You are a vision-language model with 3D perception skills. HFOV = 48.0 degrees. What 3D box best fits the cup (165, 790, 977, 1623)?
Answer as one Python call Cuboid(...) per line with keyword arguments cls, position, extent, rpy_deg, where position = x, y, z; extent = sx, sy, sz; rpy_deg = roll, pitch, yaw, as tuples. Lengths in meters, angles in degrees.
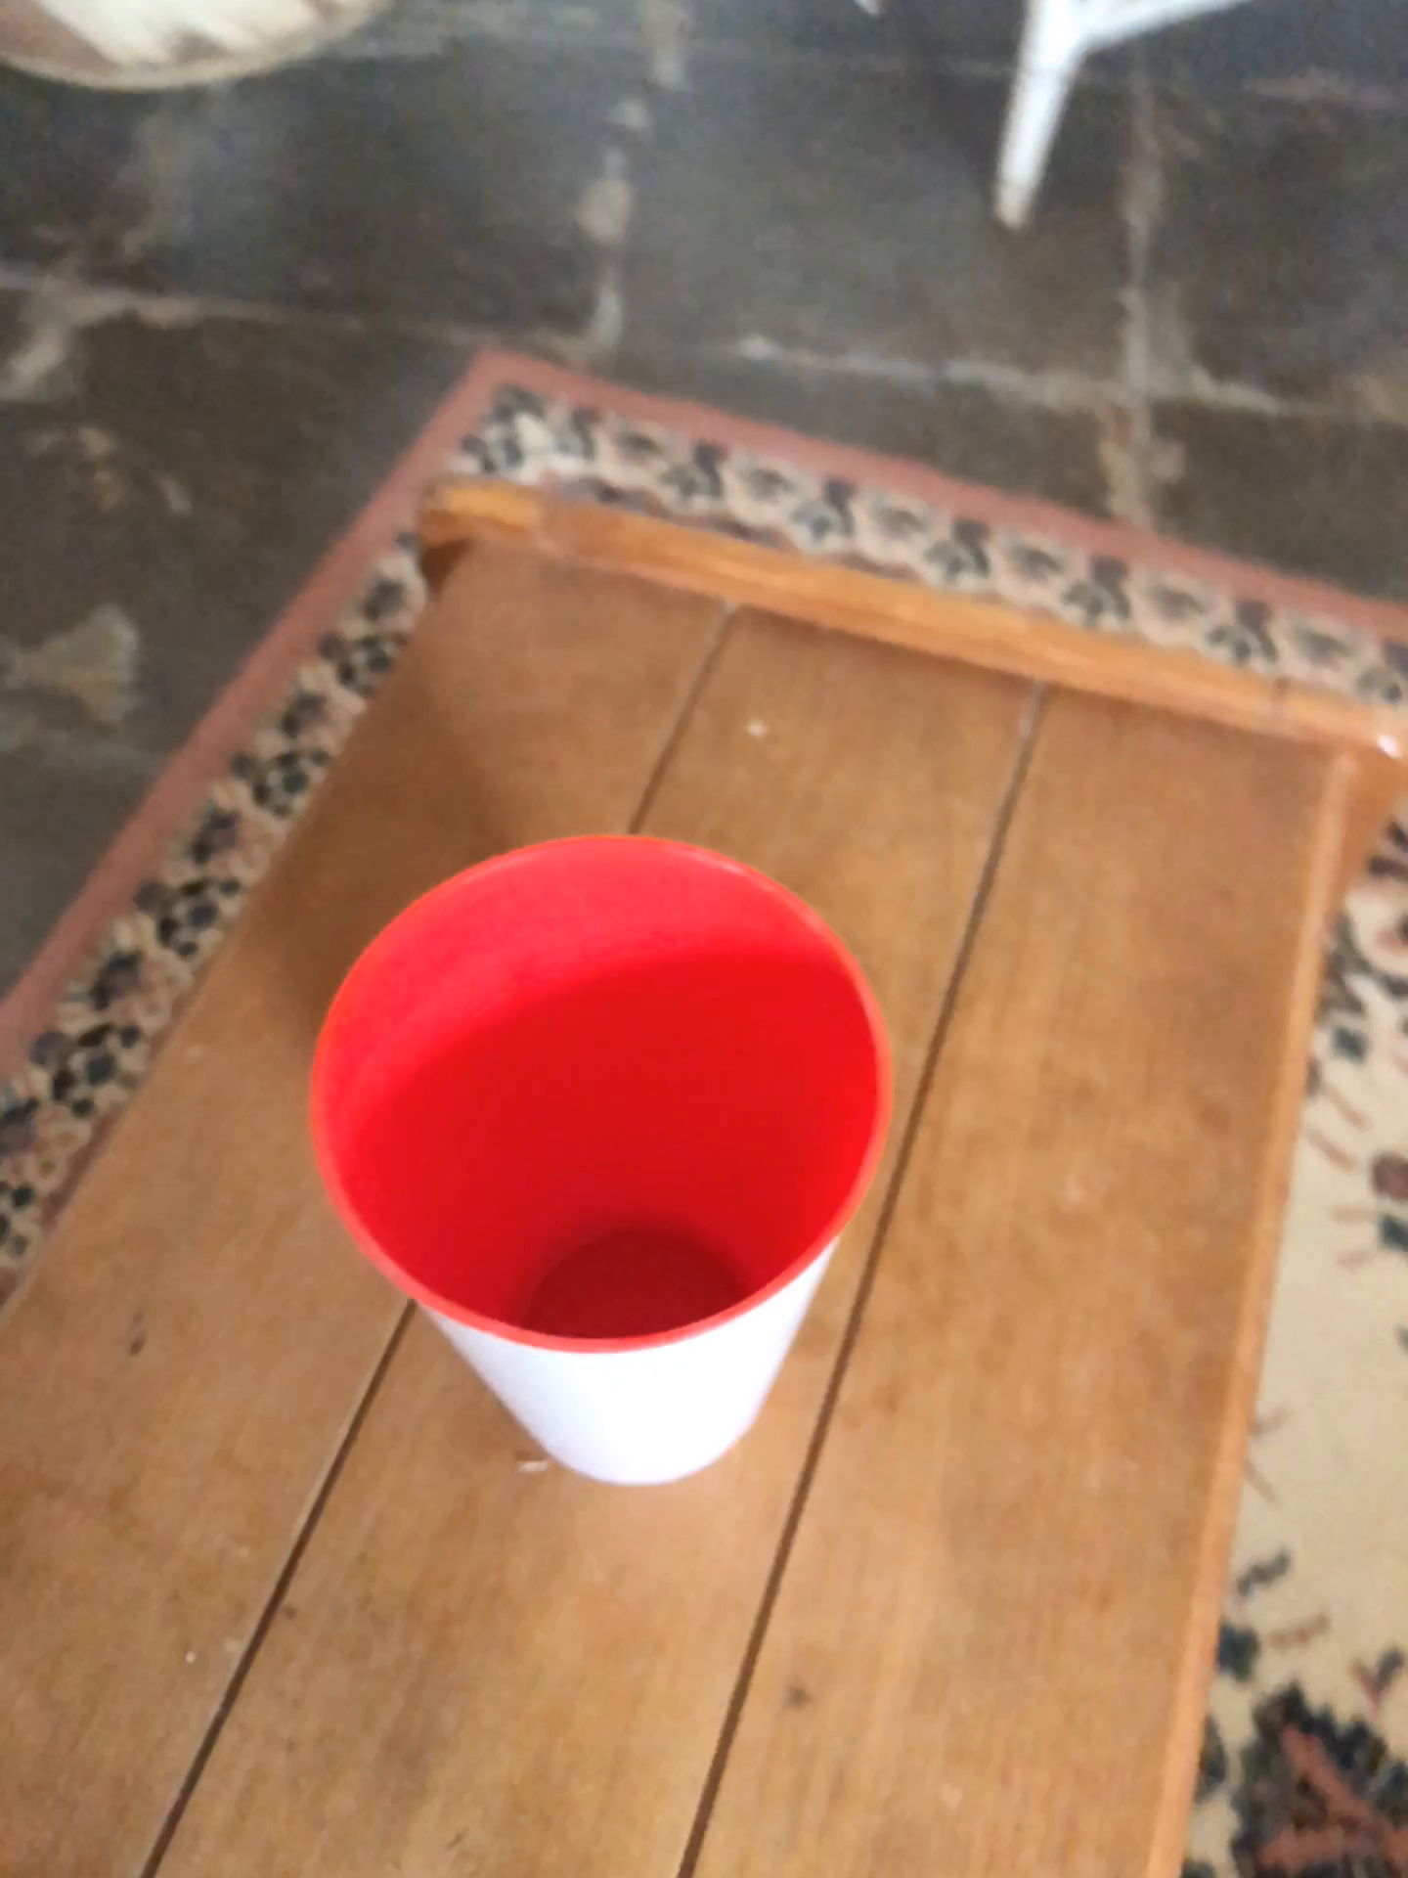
Cuboid(cls="cup", position=(-0.016, 0.055, 0.292), extent=(0.100, 0.119, 0.091), rpy_deg=(14, 59, 9))
